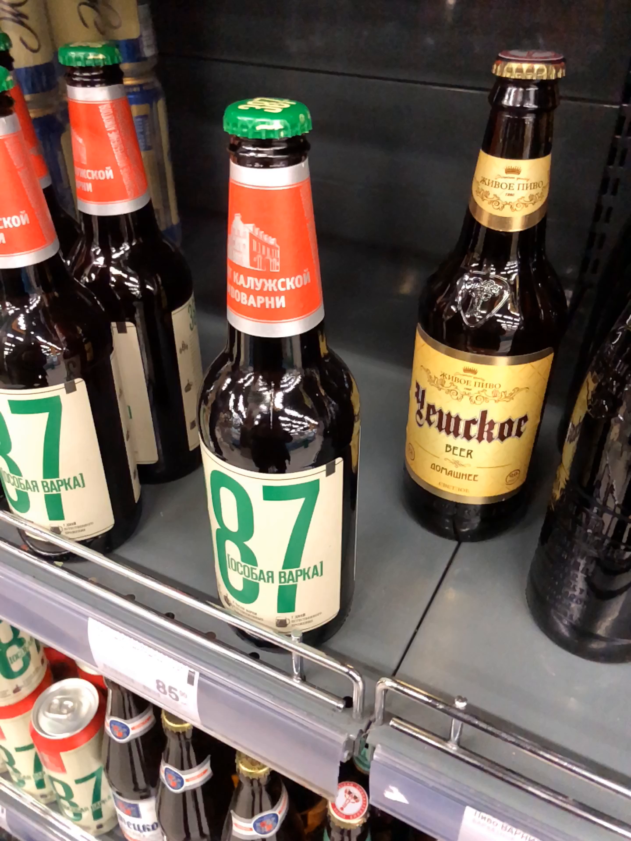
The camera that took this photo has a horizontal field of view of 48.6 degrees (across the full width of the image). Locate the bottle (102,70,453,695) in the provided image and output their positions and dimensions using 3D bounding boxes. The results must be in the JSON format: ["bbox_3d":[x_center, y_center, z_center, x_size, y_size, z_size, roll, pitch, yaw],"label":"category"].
[{"bbox_3d":[-0.011,-0.004,0.279,0.080,0.229,0.070,24,42,29],"label":"bottle"}]
